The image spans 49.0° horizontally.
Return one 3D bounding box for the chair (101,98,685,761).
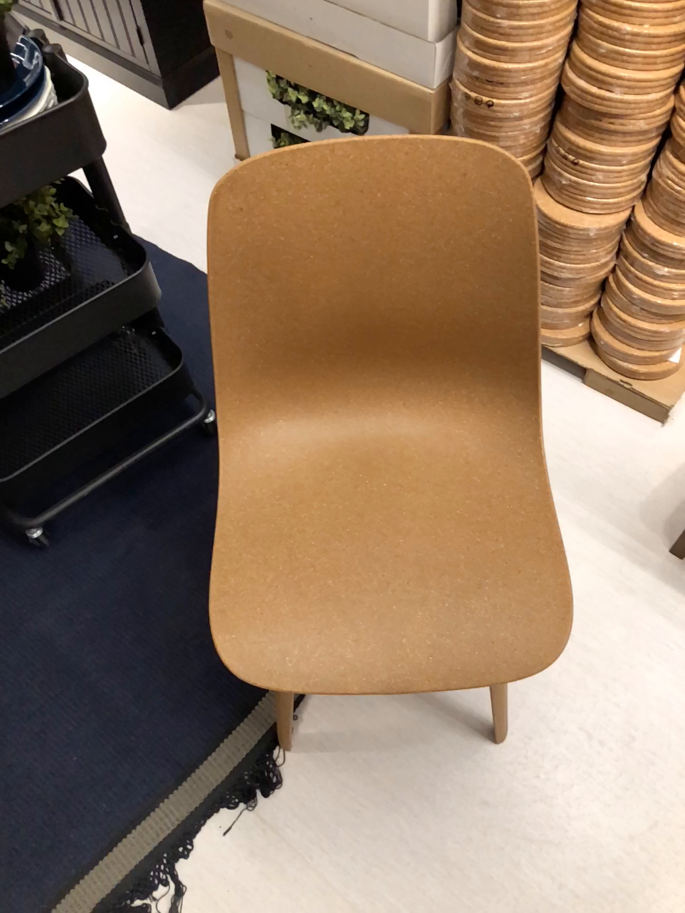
[{"bbox_3d":[0.056,0.046,1.011,0.440,0.747,0.552,-3,59,2],"label":"chair"}]
